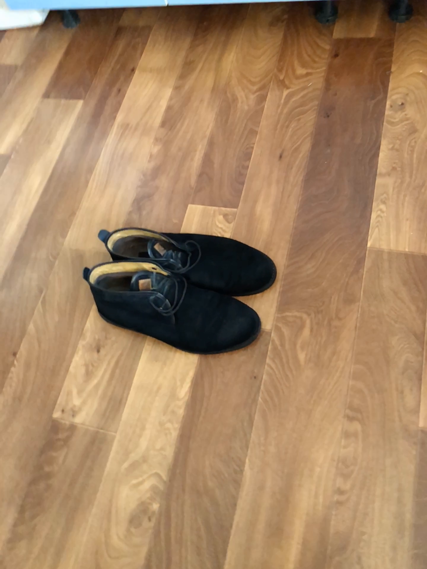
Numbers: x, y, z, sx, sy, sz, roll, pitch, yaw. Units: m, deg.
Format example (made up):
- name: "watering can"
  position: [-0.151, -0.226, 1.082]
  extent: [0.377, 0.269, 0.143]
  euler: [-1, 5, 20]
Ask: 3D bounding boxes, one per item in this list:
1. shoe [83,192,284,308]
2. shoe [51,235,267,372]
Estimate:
- name: "shoe"
  position: [-0.040, -0.057, 0.767]
  extent: [0.290, 0.129, 0.110]
  euler: [8, 67, 15]
- name: "shoe"
  position: [-0.077, 0.028, 0.724]
  extent: [0.290, 0.129, 0.110]
  euler: [13, 68, 17]
